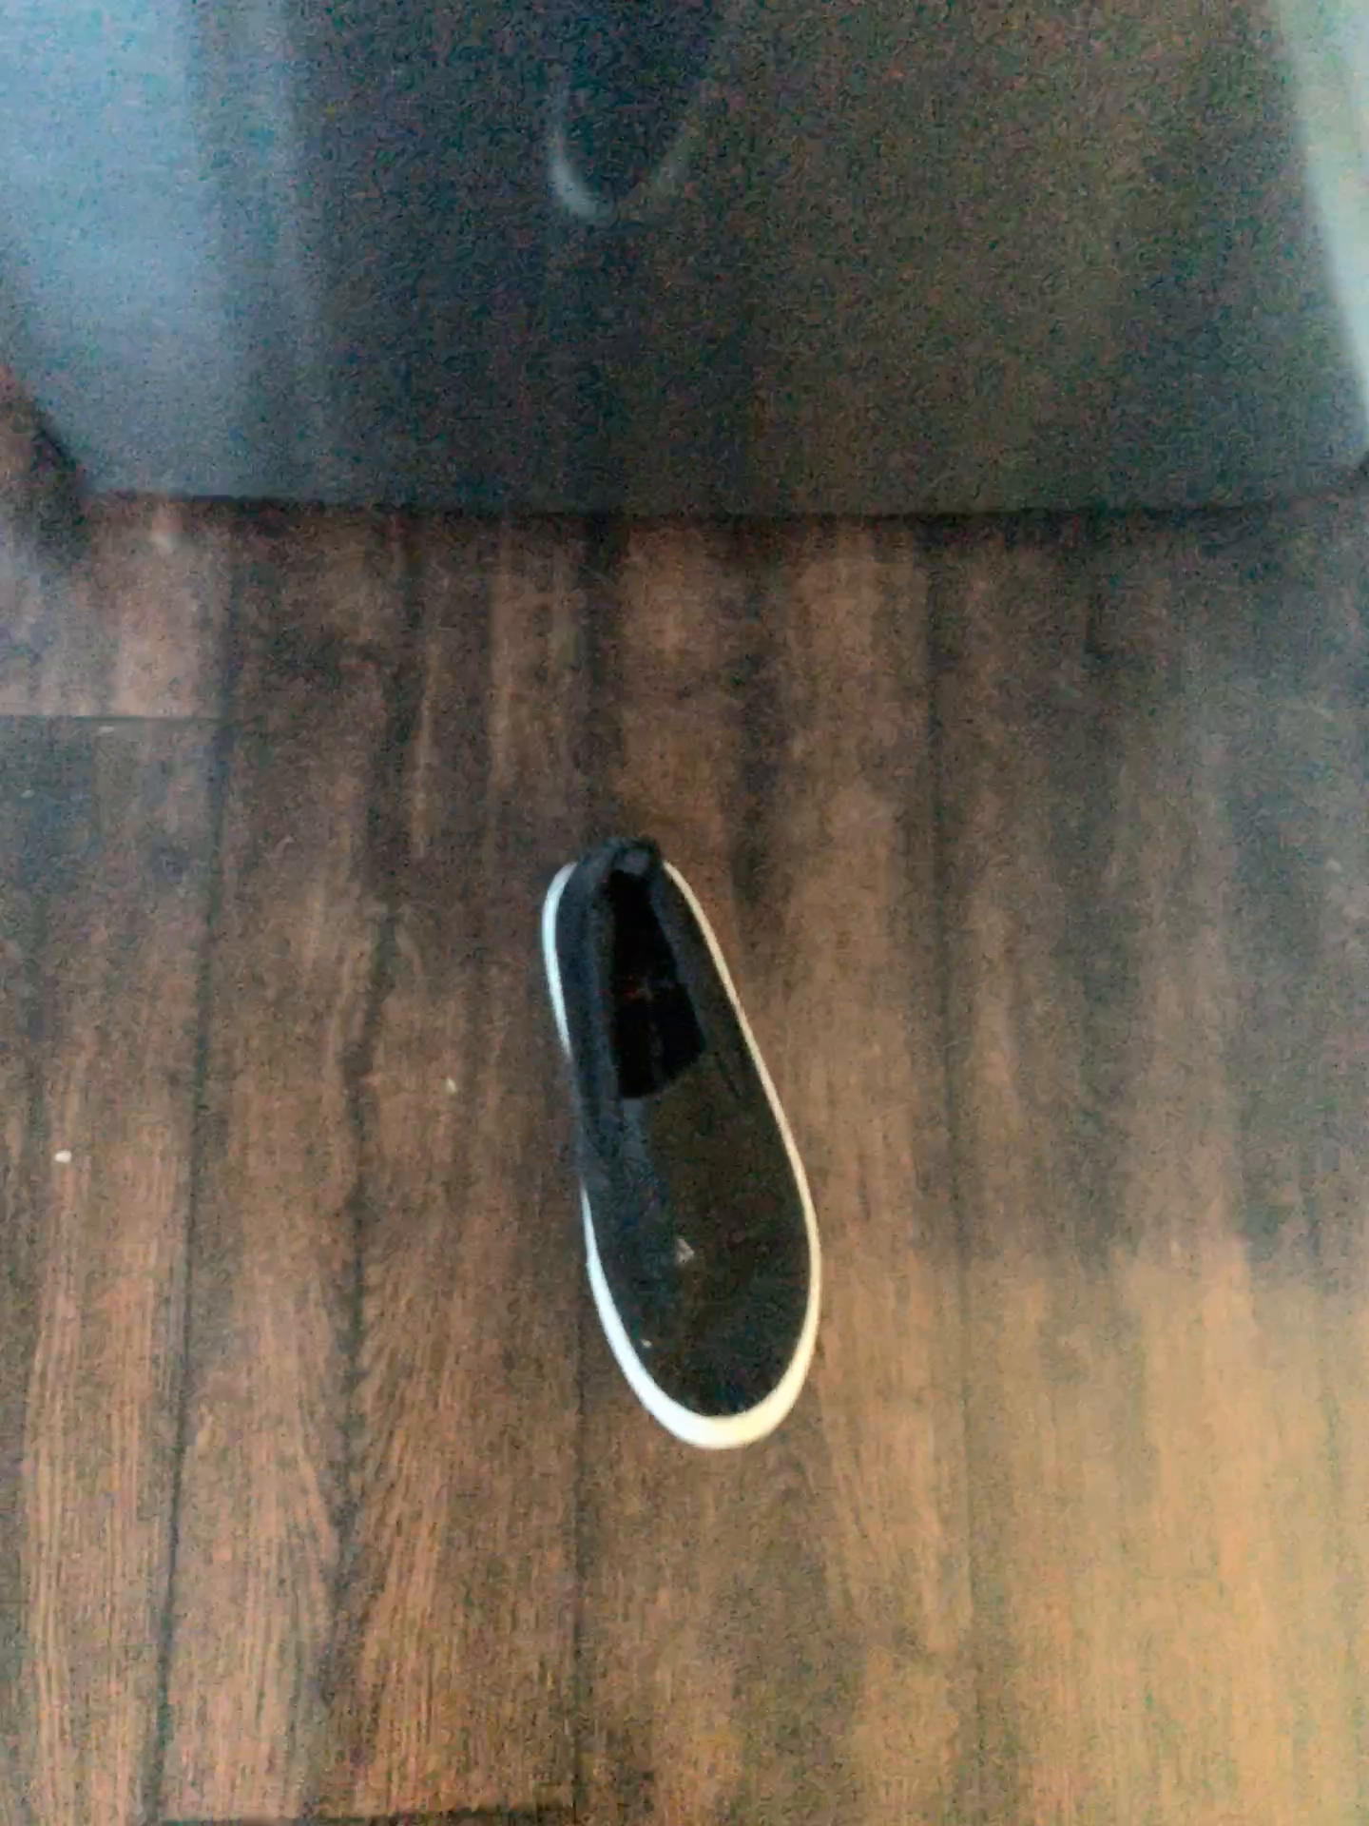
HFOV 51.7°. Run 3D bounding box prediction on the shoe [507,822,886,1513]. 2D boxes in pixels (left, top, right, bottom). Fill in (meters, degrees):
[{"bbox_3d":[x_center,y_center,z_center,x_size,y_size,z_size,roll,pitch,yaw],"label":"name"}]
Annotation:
[{"bbox_3d":[-0.001,0.095,0.564,0.100,0.080,0.238,-9,80,-7],"label":"shoe"}]
